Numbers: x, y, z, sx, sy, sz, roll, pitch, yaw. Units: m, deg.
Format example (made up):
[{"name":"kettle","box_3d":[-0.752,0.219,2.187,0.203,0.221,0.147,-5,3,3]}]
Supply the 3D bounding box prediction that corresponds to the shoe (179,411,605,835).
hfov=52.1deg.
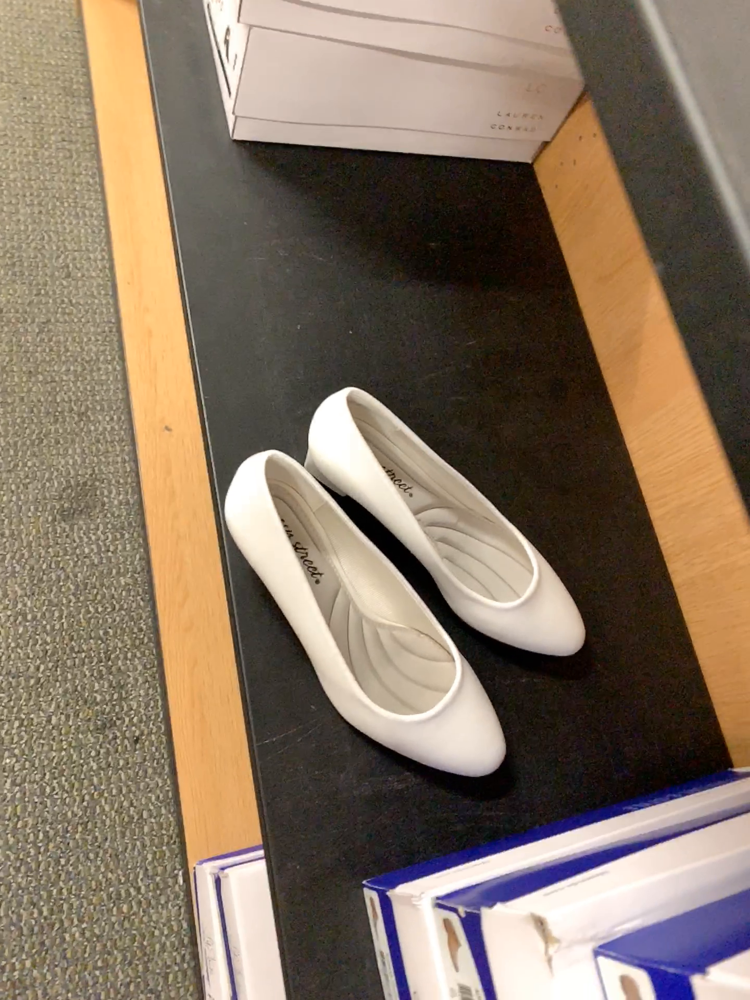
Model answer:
[{"name":"shoe","box_3d":[0.001,0.082,0.484,0.250,0.110,0.090,45,63,3]}]

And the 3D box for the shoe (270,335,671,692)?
[{"name":"shoe","box_3d":[0.059,0.015,0.526,0.250,0.100,0.080,38,63,-1]}]
